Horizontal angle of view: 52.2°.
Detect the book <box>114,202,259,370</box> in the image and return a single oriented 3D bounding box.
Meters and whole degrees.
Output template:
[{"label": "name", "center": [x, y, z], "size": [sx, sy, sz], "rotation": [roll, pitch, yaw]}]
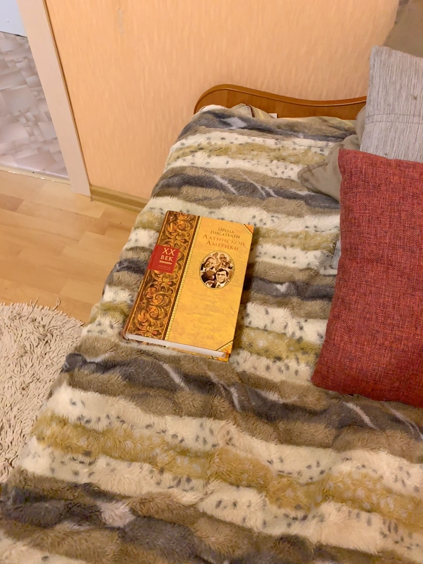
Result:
[{"label": "book", "center": [-0.031, -0.004, 0.739], "size": [0.180, 0.060, 0.272], "rotation": [11, 56, 5]}]
